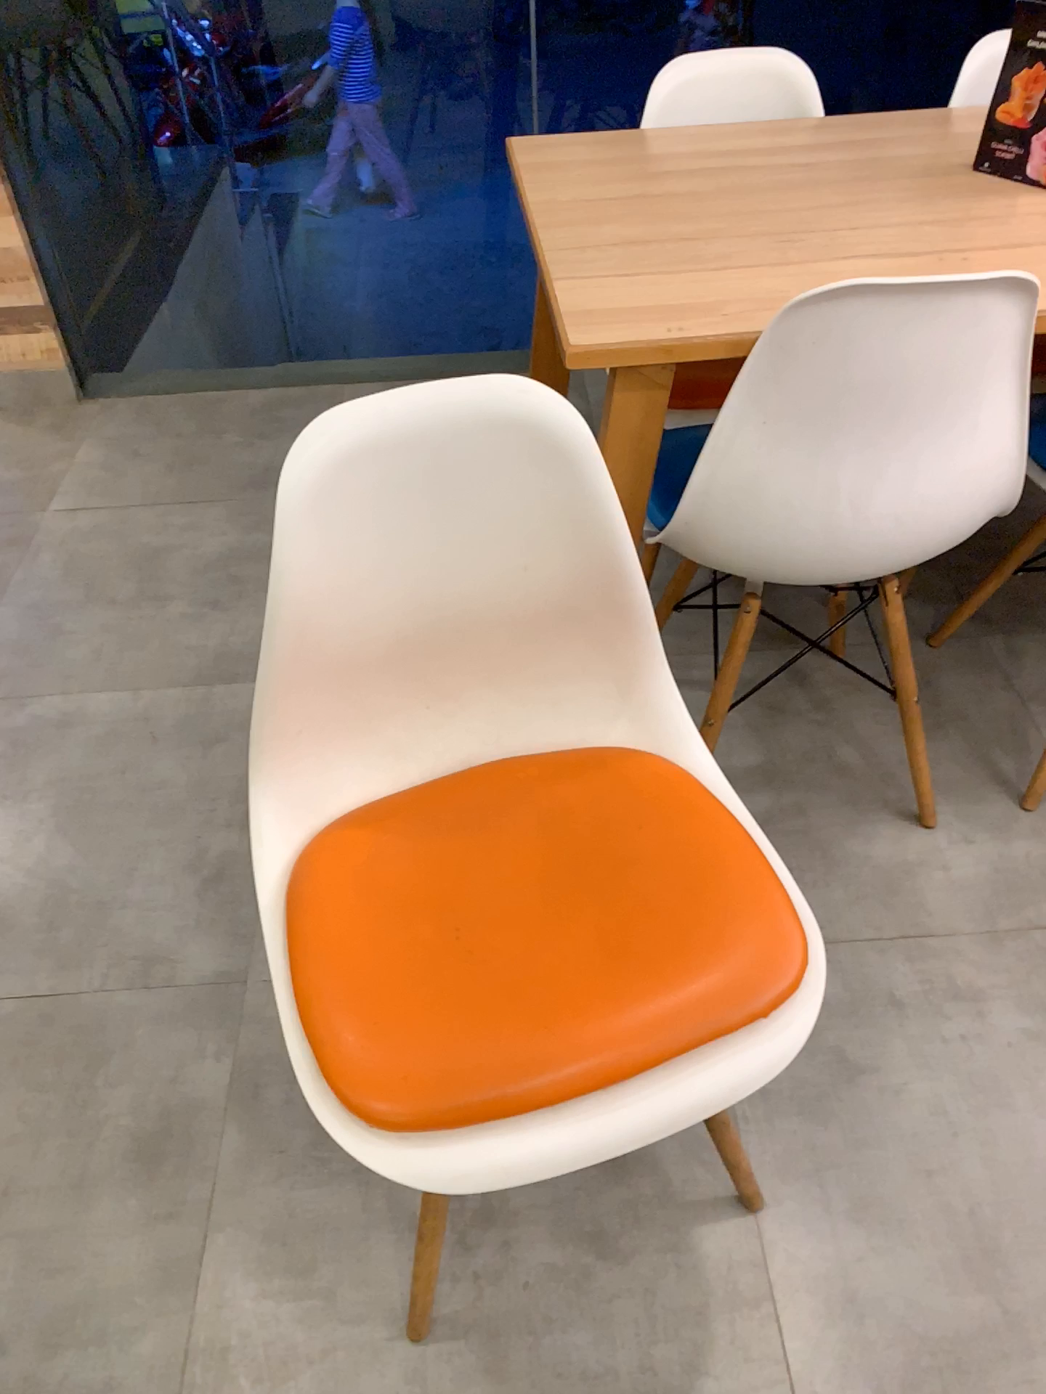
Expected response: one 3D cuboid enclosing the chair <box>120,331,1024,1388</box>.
[{"bbox_3d":[-0.010,0.149,0.941,0.470,0.704,0.484,-13,42,-11],"label":"chair"}]
